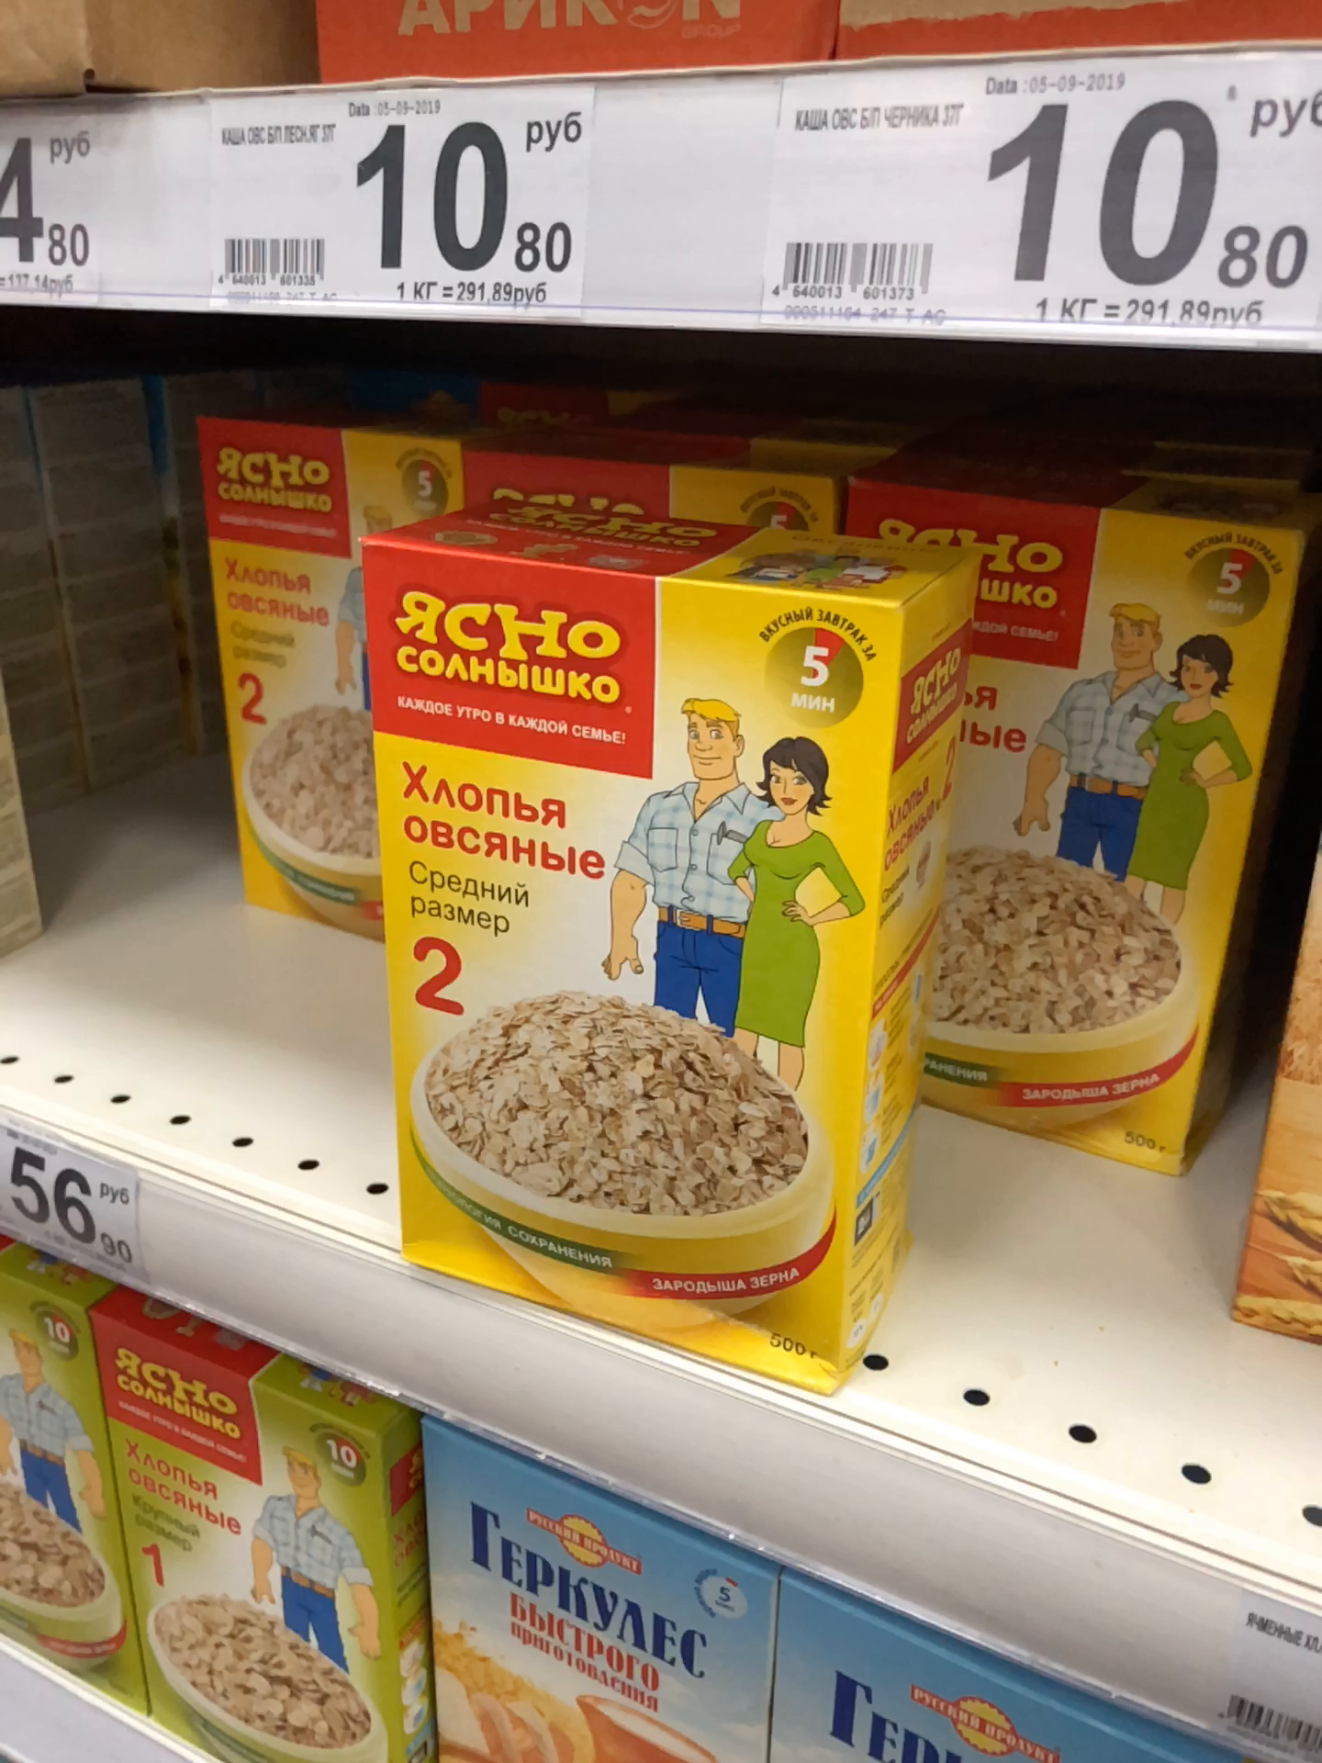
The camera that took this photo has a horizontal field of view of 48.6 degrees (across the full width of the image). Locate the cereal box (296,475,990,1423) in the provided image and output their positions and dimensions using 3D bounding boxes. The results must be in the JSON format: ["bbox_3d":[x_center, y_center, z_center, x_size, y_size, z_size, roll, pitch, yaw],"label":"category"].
[{"bbox_3d":[-0.004,0.010,0.348,0.130,0.189,0.070,12,25,24],"label":"cereal box"}]
